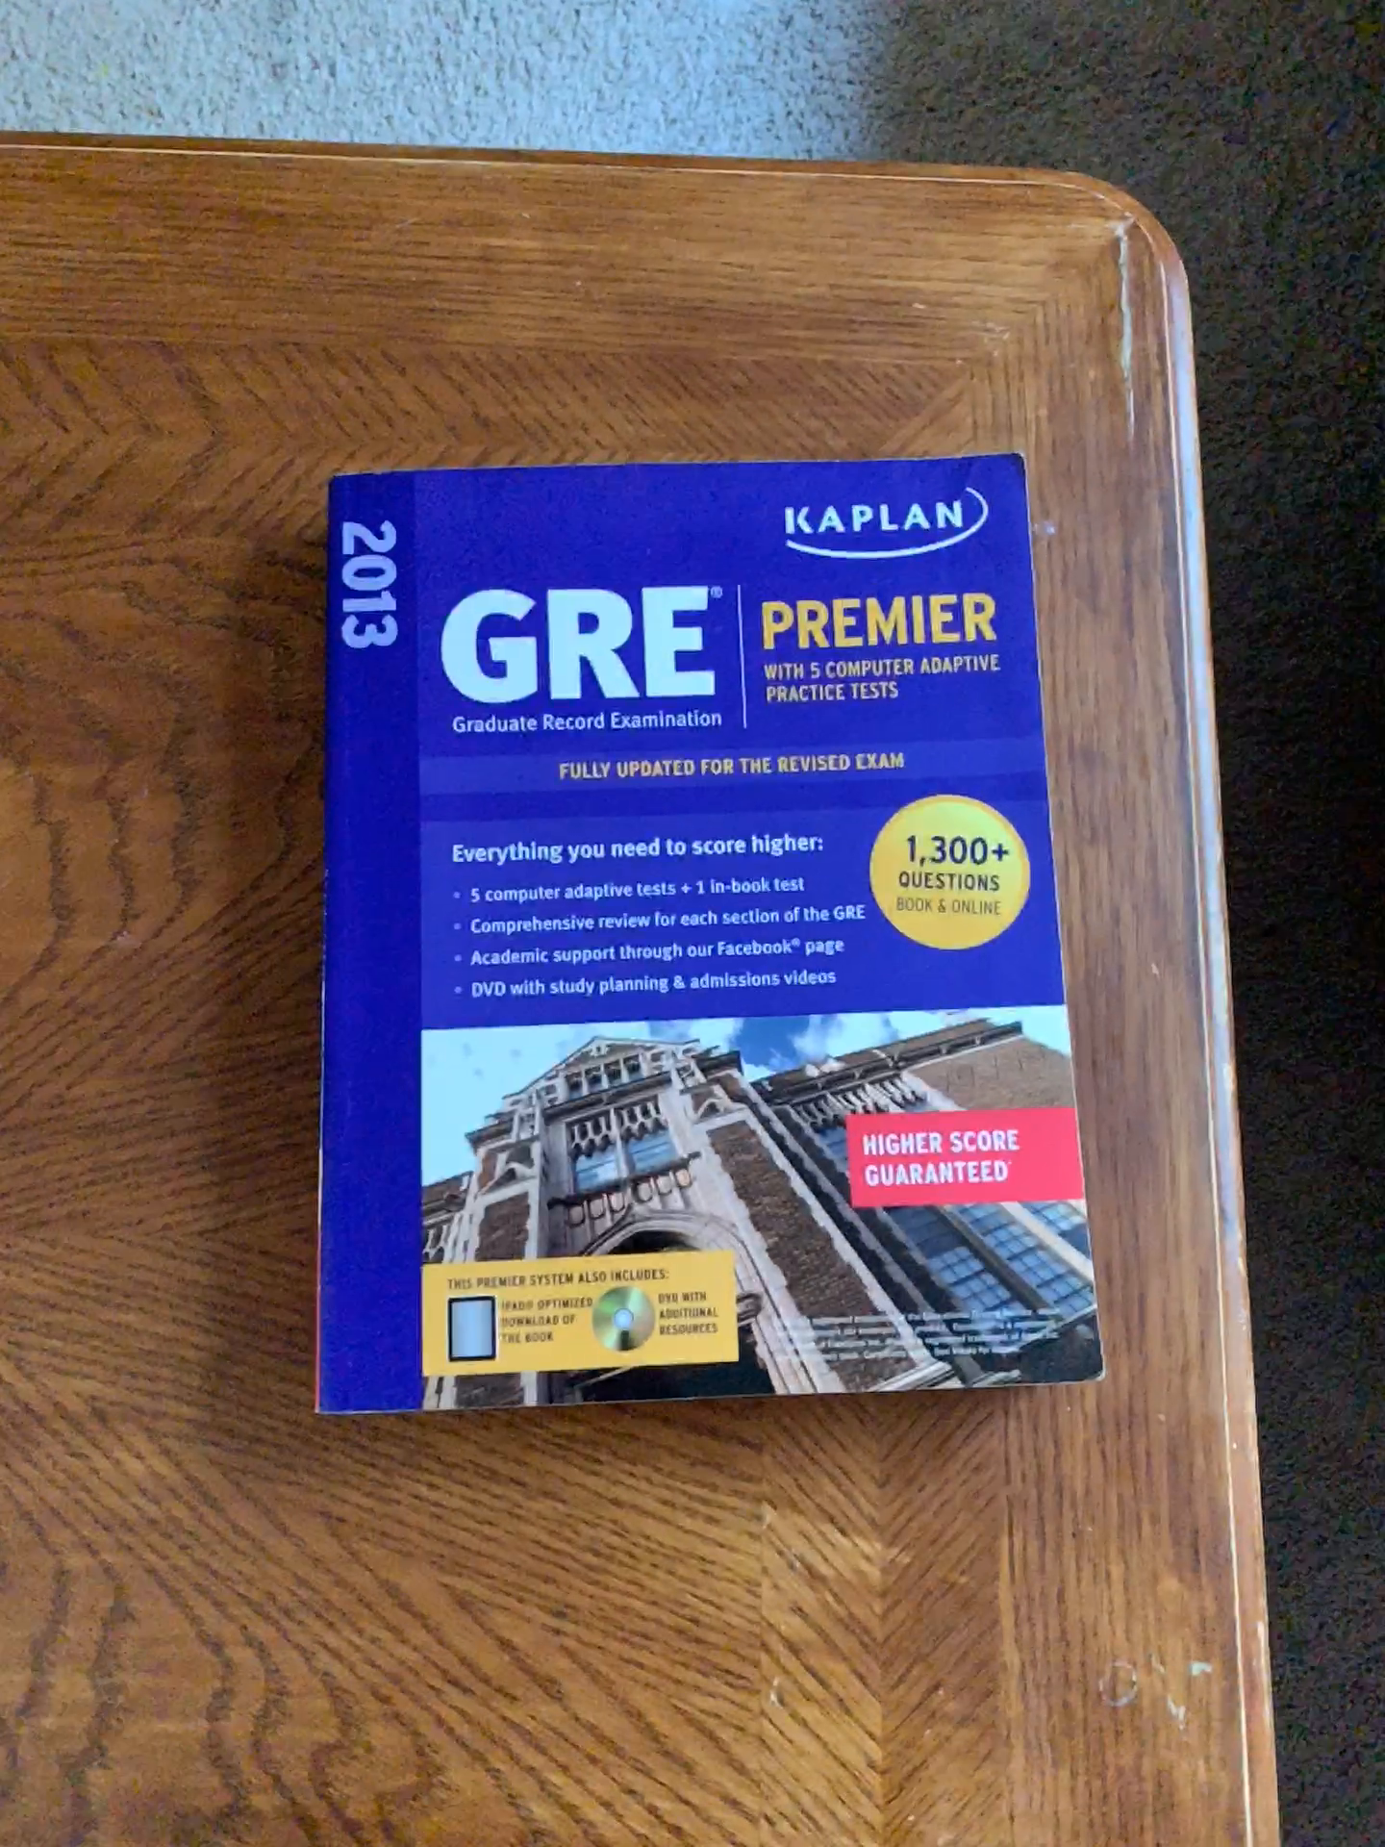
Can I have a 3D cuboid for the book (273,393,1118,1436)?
[{"bbox_3d":[-0.004,-0.008,0.426,0.220,0.060,0.290,-2,80,-2],"label":"book"}]
